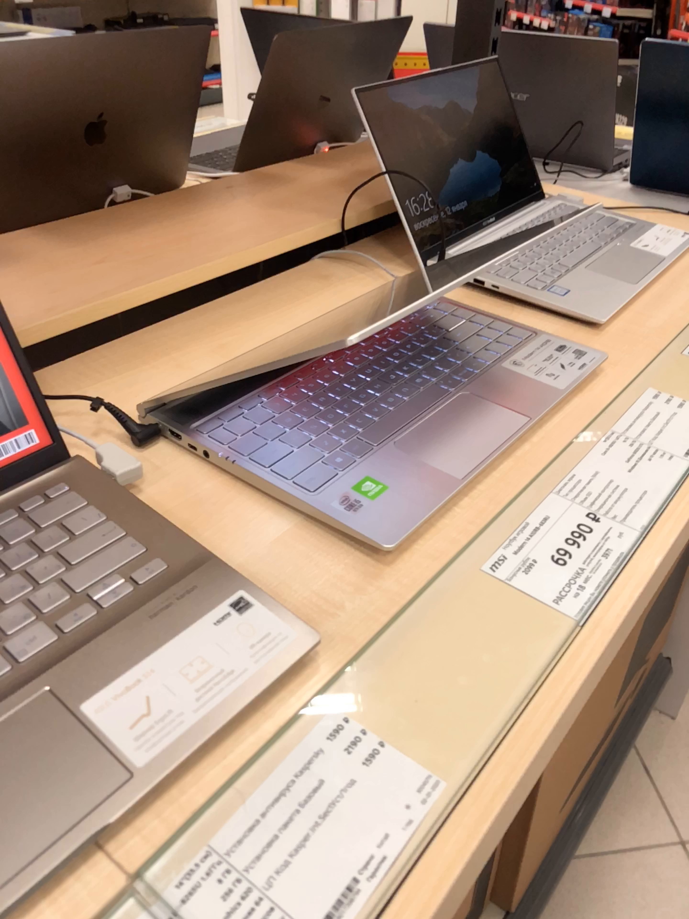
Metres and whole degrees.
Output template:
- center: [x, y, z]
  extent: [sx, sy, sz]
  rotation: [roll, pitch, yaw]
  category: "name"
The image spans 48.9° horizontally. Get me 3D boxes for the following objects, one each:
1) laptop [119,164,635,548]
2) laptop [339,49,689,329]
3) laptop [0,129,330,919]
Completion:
- center: [0.040, -0.109, 0.563]
  extent: [0.216, 0.112, 0.322]
  rotation: [26, 41, 29]
  category: "laptop"
- center: [0.214, -0.325, 0.843]
  extent: [0.301, 0.154, 0.326]
  rotation: [27, 42, 26]
  category: "laptop"
- center: [-0.228, 0.012, 0.297]
  extent: [0.314, 0.169, 0.311]
  rotation: [27, 41, 28]
  category: "laptop"
